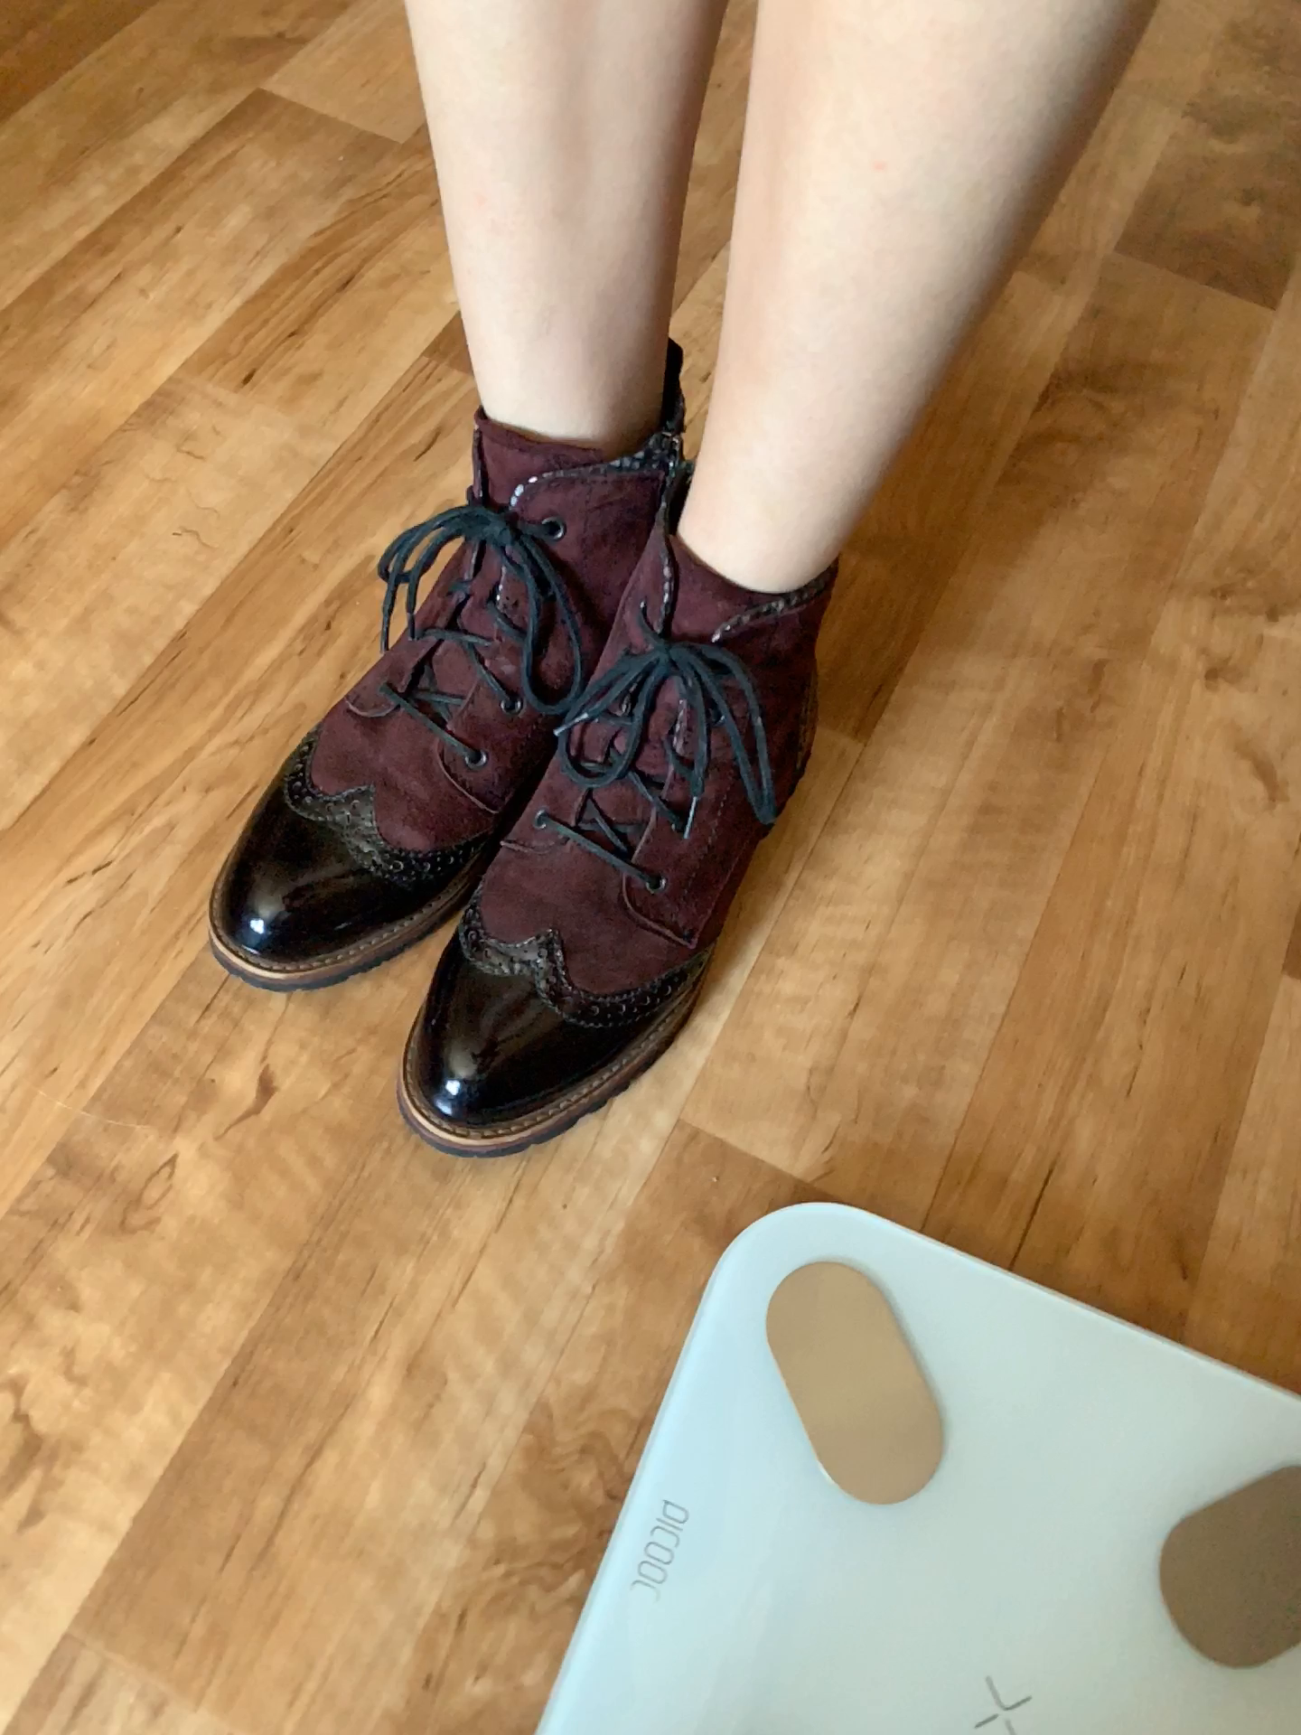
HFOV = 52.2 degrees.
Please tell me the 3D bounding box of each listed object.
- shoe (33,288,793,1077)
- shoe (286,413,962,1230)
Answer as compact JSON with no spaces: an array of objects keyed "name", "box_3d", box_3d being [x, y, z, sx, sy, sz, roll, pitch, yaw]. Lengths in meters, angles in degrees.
[{"name":"shoe","box_3d":[-0.072,-0.071,0.500,0.100,0.140,0.260,35,64,13]},{"name":"shoe","box_3d":[-0.002,-0.019,0.496,0.100,0.140,0.260,30,63,10]}]
